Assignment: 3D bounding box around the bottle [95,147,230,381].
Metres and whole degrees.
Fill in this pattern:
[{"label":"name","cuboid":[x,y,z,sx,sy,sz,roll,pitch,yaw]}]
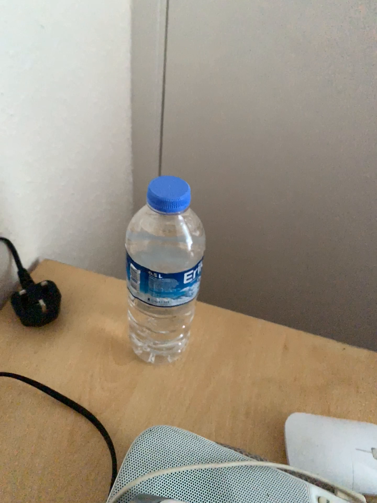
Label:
[{"label":"bottle","cuboid":[-0.026,0.018,0.345,0.070,0.188,0.070,4,40,-3]}]
